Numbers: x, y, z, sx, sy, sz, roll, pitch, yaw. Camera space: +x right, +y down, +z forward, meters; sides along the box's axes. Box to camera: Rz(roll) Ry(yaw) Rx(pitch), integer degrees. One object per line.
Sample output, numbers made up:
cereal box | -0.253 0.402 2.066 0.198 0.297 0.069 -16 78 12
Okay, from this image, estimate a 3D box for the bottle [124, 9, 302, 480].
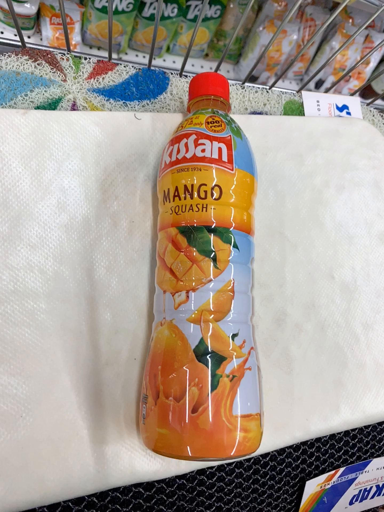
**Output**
bottle | 0.017 -0.007 0.246 0.080 0.070 0.230 8 82 -52
